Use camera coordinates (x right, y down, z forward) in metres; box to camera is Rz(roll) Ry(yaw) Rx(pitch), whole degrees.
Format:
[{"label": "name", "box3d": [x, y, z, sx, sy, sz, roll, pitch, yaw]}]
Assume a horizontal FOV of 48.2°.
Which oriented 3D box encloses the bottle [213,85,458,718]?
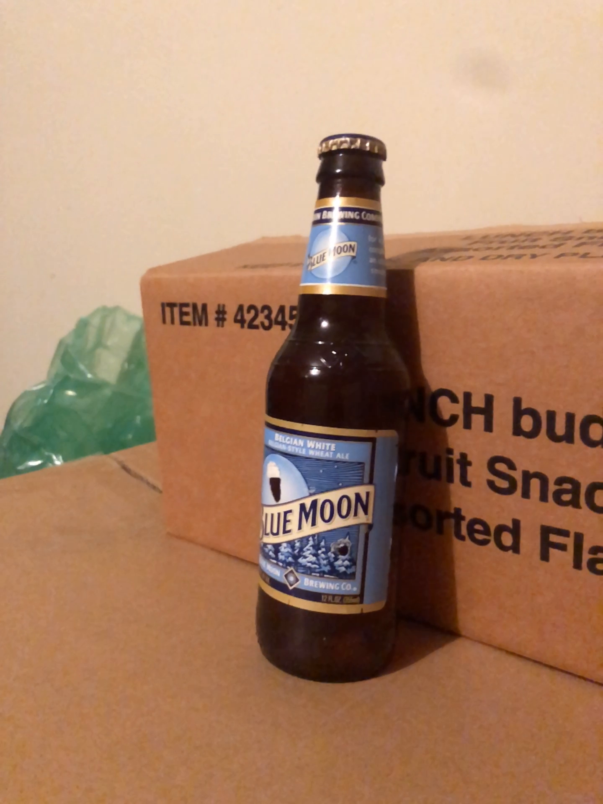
[{"label": "bottle", "box3d": [0.014, 0.000, 0.266, 0.070, 0.210, 0.060, 5, 9, 35]}]
